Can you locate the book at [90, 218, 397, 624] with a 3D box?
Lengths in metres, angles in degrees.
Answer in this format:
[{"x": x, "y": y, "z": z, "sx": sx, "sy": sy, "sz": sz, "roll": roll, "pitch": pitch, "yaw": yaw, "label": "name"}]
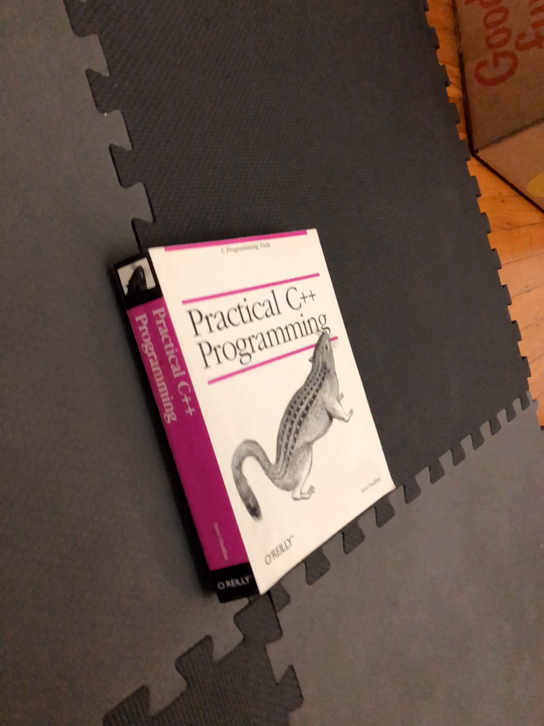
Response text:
[{"x": -0.003, "y": 0.022, "z": 0.452, "sx": 0.201, "sy": 0.050, "sz": 0.250, "roll": -20, "pitch": 94, "yaw": -53, "label": "book"}]
